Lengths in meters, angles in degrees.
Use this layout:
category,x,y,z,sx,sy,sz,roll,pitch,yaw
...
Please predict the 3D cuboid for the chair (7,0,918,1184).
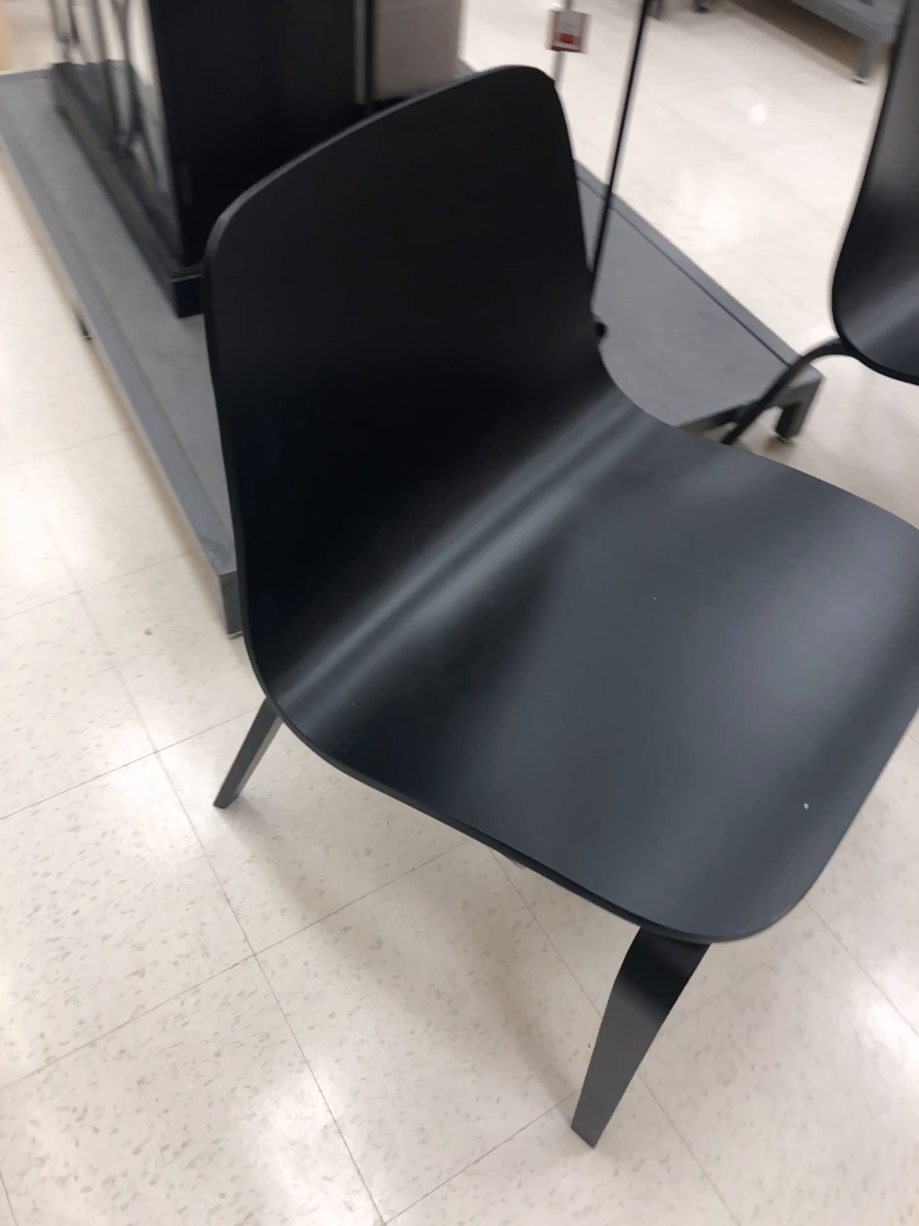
category,x,y,z,sx,sy,sz,roll,pitch,yaw
chair,0.129,-0.025,0.980,0.631,0.718,0.641,33,55,20
